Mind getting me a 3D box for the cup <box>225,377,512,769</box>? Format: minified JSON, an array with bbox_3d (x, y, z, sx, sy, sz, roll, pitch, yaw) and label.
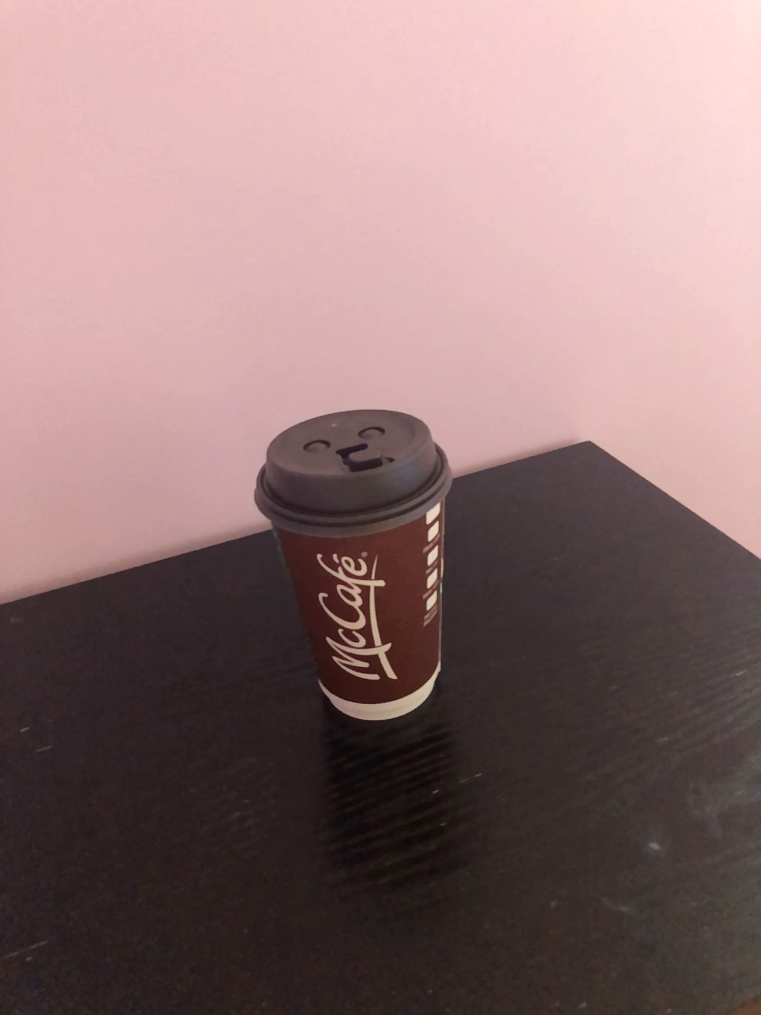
[{"bbox_3d":[-0.002,0.027,0.404,0.090,0.139,0.090,-5,30,3],"label":"cup"}]
